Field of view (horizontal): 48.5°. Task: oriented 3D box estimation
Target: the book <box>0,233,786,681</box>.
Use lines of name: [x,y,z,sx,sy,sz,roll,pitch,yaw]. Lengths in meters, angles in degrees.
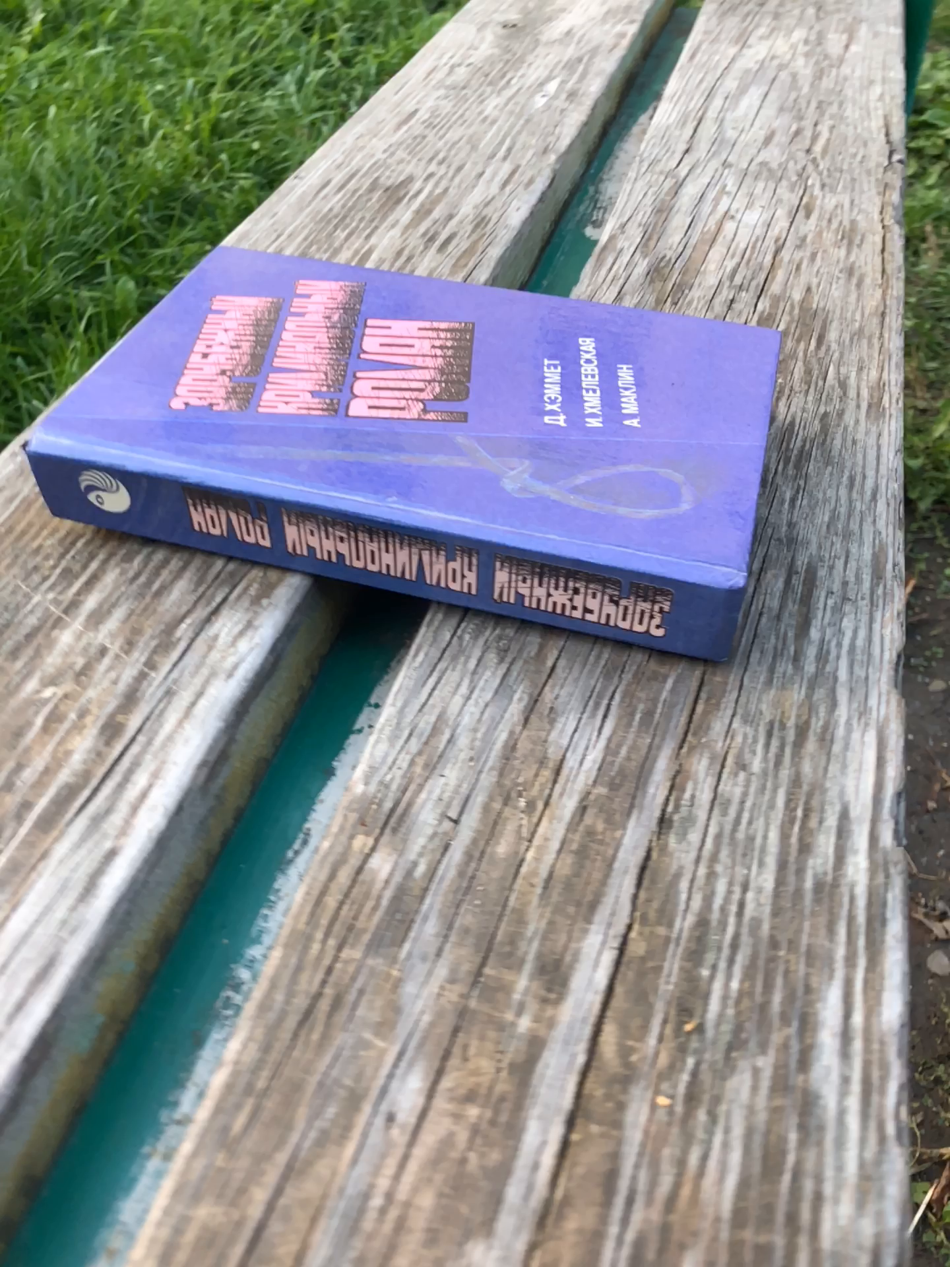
book: [-0.018,-0.064,0.315,0.204,0.030,0.131,12,46,10]
